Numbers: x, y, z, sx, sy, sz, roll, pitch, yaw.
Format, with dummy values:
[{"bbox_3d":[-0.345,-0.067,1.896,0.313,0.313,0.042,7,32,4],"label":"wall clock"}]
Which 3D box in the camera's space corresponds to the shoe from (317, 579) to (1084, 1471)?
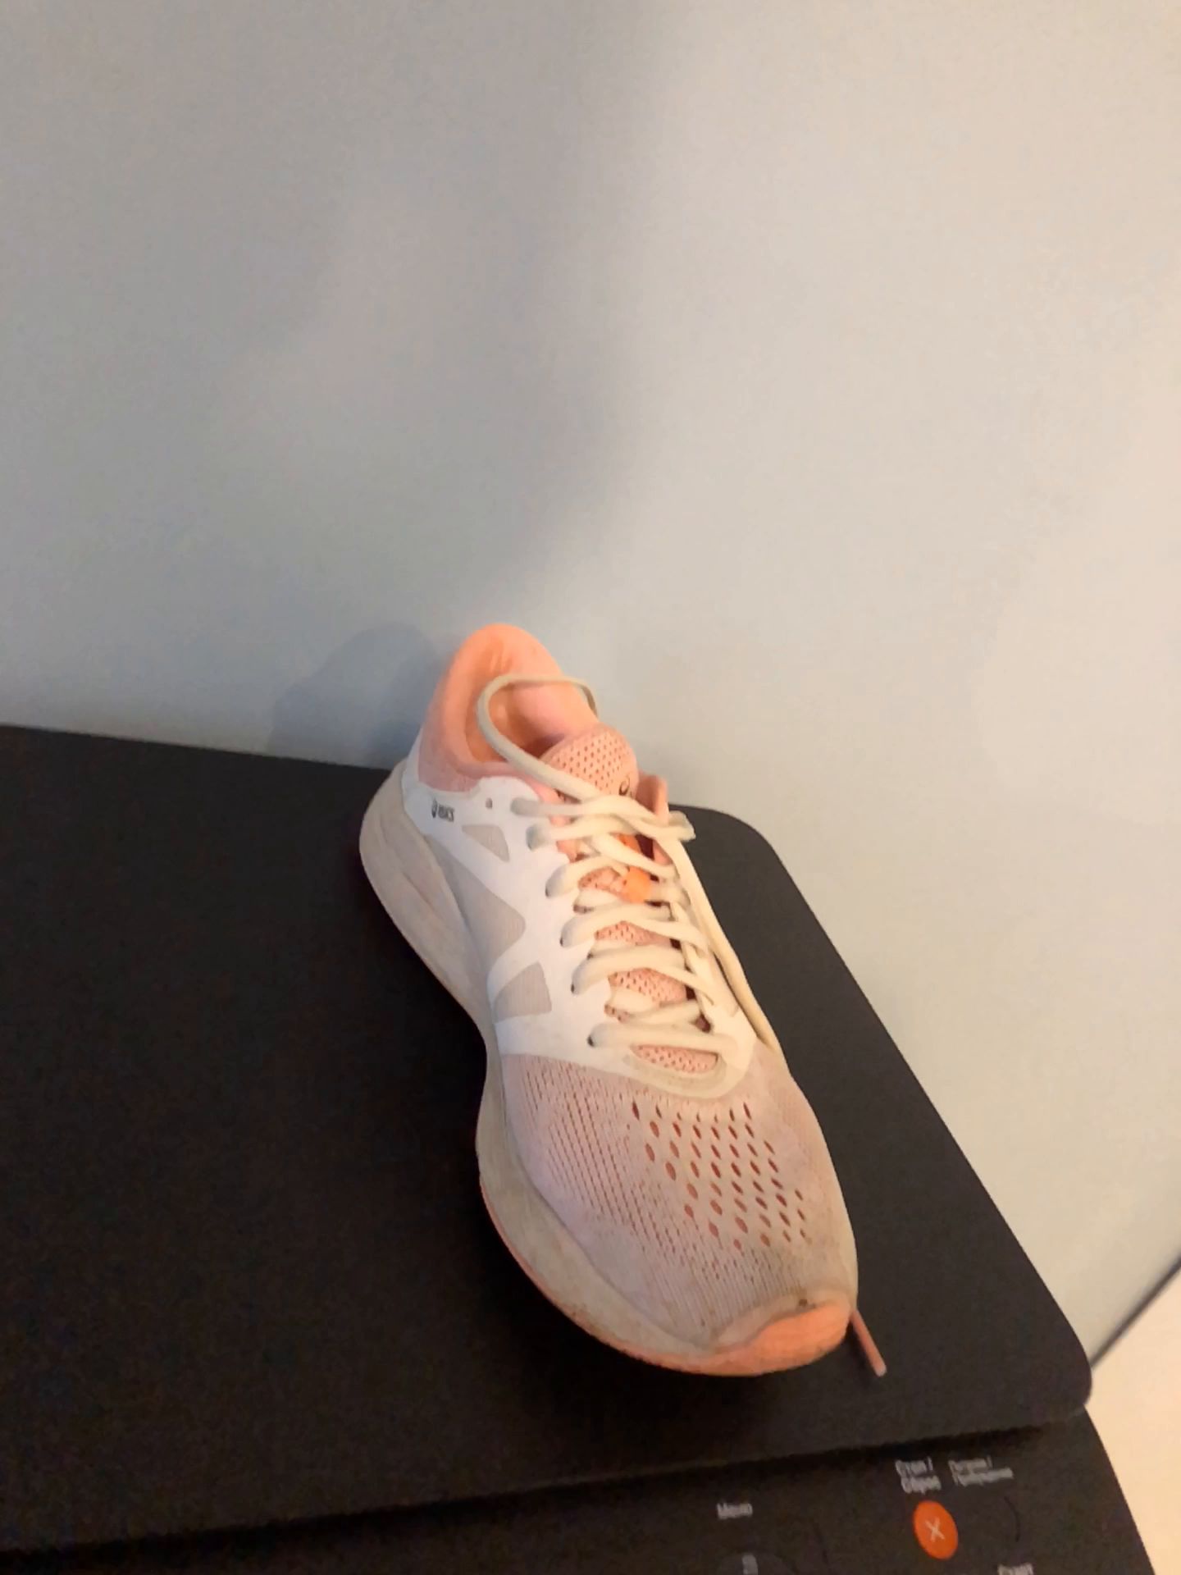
[{"bbox_3d":[0.007,0.047,0.391,0.116,0.089,0.254,5,34,-27],"label":"shoe"}]
